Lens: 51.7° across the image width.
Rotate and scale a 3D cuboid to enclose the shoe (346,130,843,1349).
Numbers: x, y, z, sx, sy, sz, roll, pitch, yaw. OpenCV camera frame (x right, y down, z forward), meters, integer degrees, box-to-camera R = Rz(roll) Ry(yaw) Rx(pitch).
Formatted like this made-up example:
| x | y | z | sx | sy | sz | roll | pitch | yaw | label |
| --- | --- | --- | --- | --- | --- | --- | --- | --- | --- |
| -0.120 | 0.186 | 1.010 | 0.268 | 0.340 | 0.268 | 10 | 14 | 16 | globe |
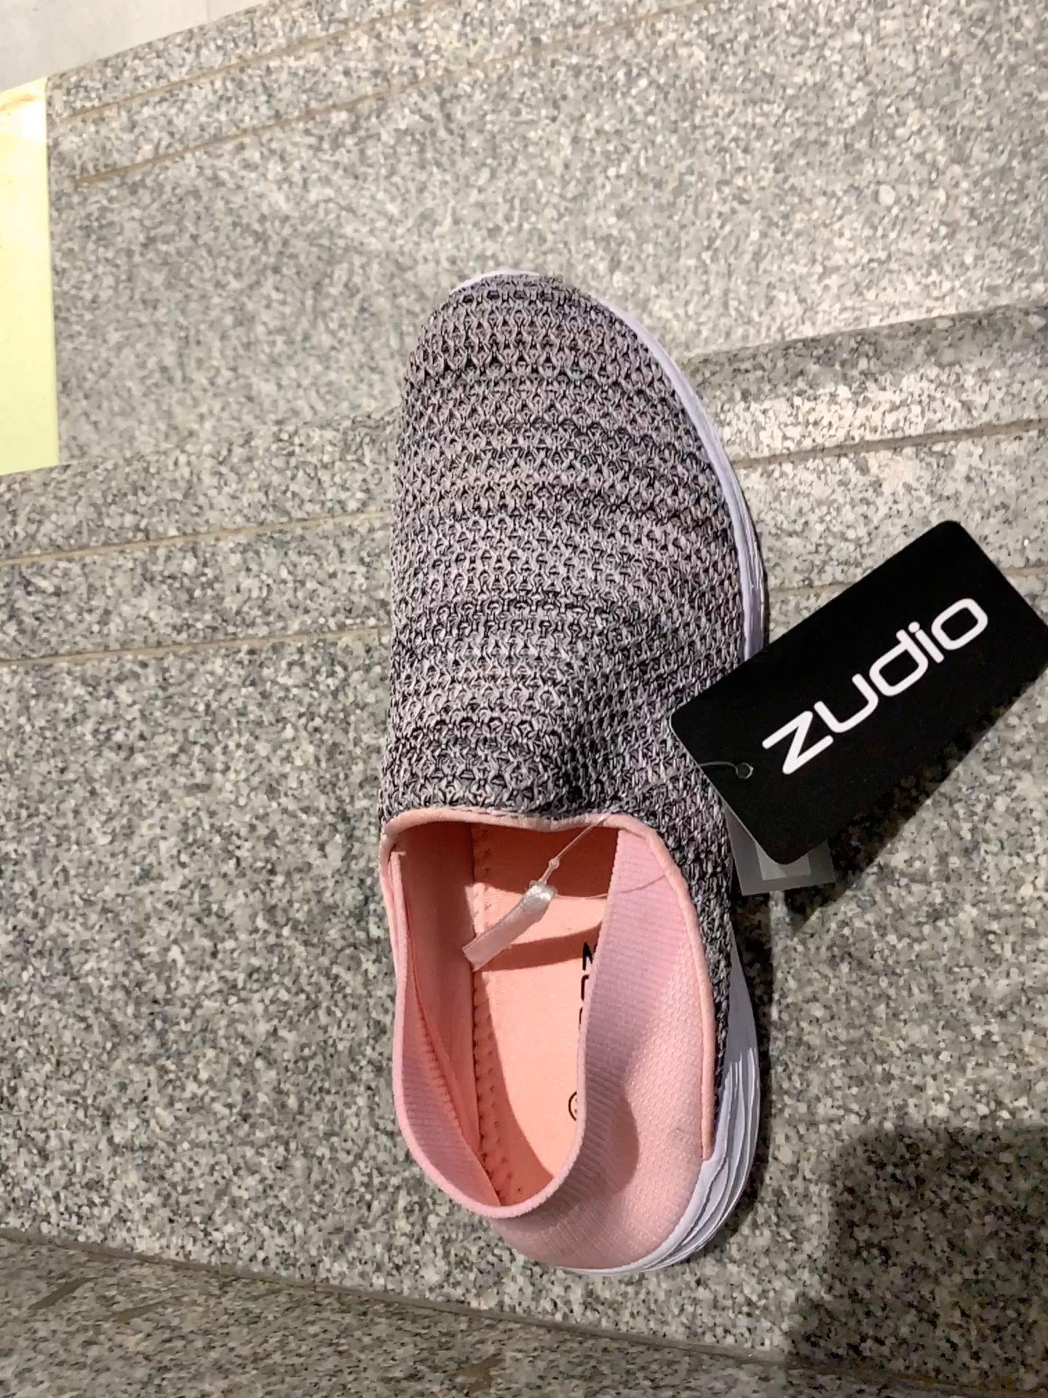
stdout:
| x | y | z | sx | sy | sz | roll | pitch | yaw | label |
| --- | --- | --- | --- | --- | --- | --- | --- | --- | --- |
| 0.021 | 0.009 | 0.275 | 0.090 | 0.080 | 0.250 | -5 | 87 | 21 | shoe |
